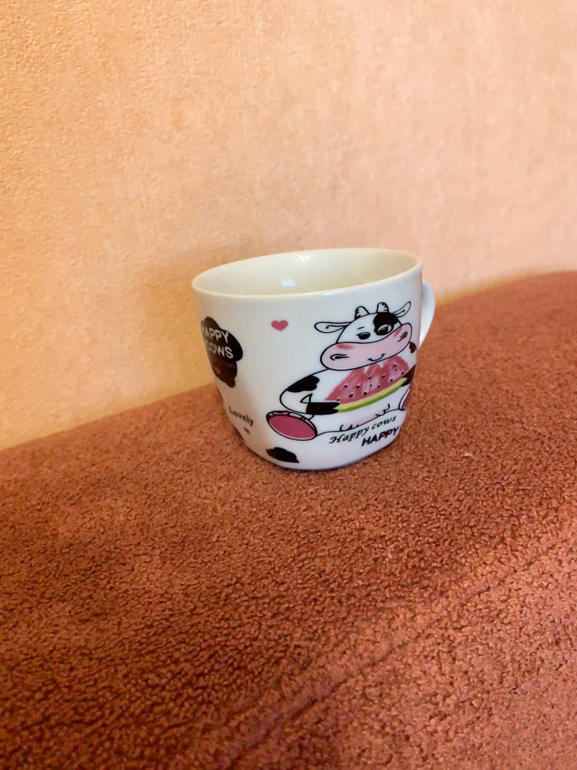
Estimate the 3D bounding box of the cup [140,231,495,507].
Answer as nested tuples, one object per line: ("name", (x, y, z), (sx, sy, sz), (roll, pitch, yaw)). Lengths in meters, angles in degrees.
("cup", (0.009, -0.015, 0.218), (0.094, 0.056, 0.079), (-17, 26, -24))
